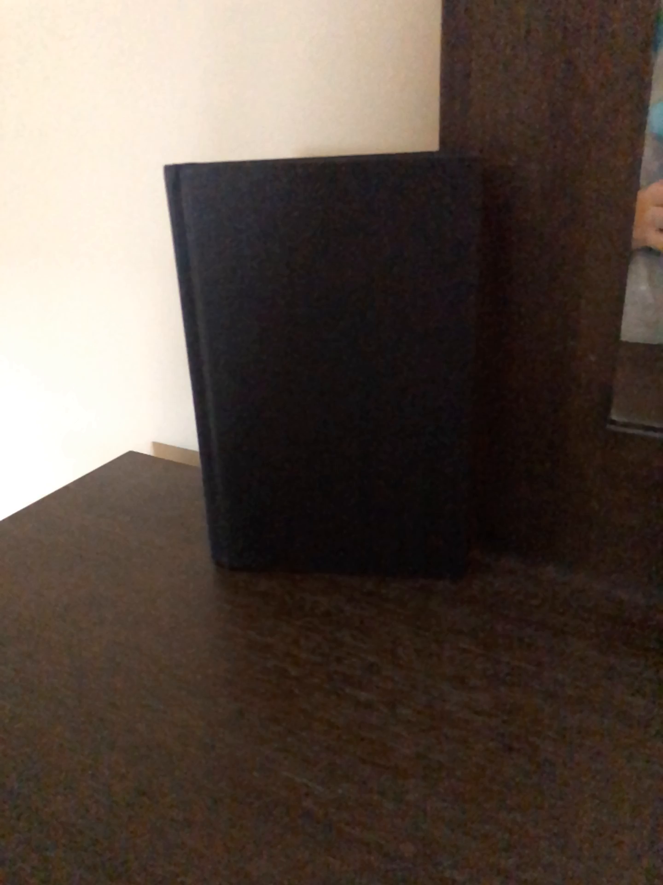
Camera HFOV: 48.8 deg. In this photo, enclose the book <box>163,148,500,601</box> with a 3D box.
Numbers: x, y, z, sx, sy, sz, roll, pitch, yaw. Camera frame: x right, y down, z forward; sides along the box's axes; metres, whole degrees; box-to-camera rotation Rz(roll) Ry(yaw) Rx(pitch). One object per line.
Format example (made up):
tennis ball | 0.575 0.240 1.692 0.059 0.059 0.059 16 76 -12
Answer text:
book | 0.005 -0.026 0.379 0.150 0.229 0.028 1 24 9
